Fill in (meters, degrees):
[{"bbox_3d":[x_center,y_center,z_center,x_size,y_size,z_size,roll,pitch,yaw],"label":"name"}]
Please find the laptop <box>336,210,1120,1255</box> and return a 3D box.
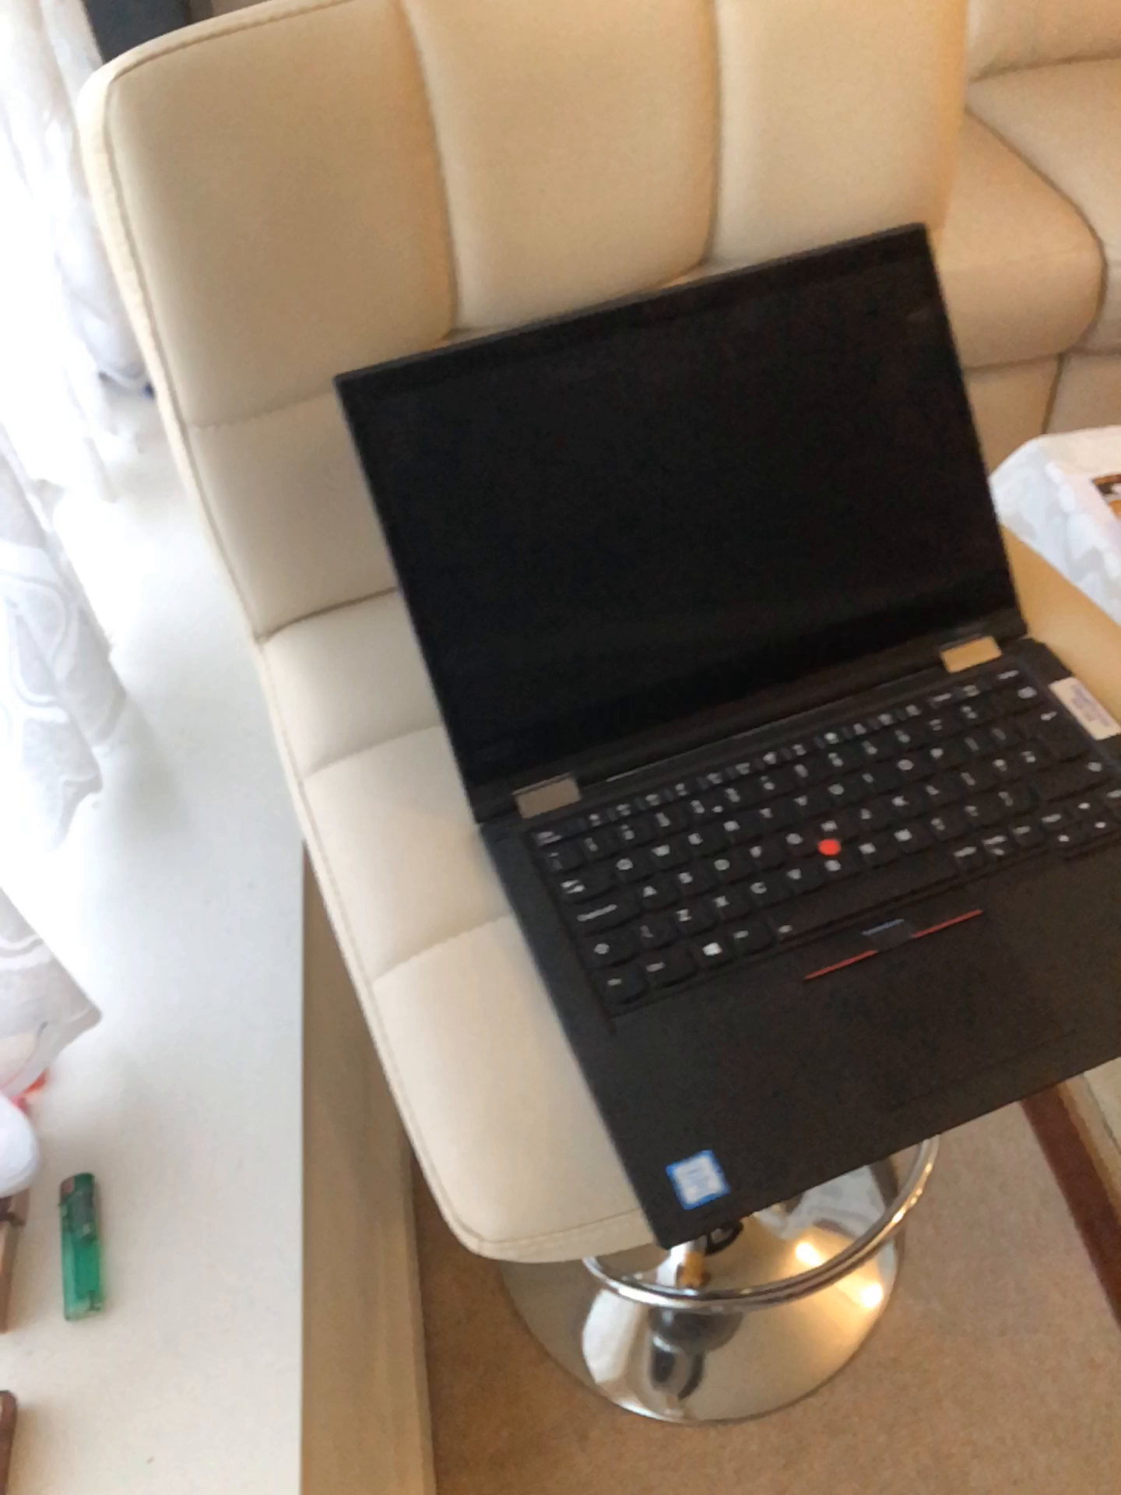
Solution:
[{"bbox_3d":[0.110,-0.042,0.547,0.308,0.165,0.368,-19,50,-11],"label":"laptop"}]
